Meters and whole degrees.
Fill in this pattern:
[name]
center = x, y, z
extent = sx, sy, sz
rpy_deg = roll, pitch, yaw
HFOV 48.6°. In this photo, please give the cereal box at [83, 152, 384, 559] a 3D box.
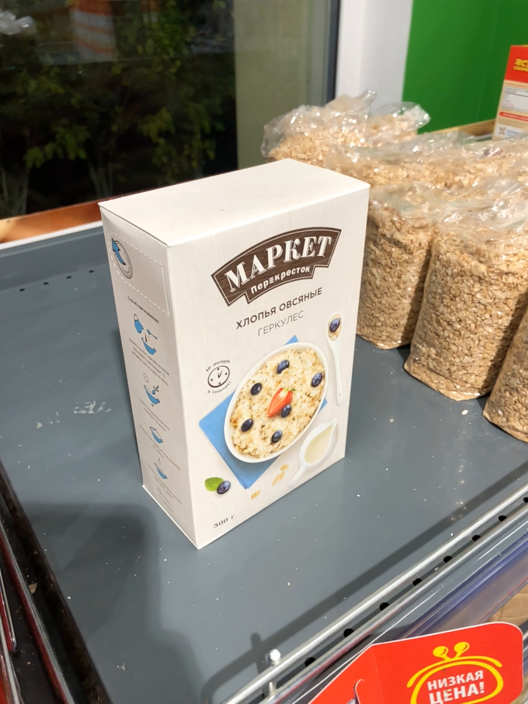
[cereal box]
center = -0.012, 0.000, 0.336
extent = 0.130, 0.189, 0.070
rpy_deg = -24, 40, -32
